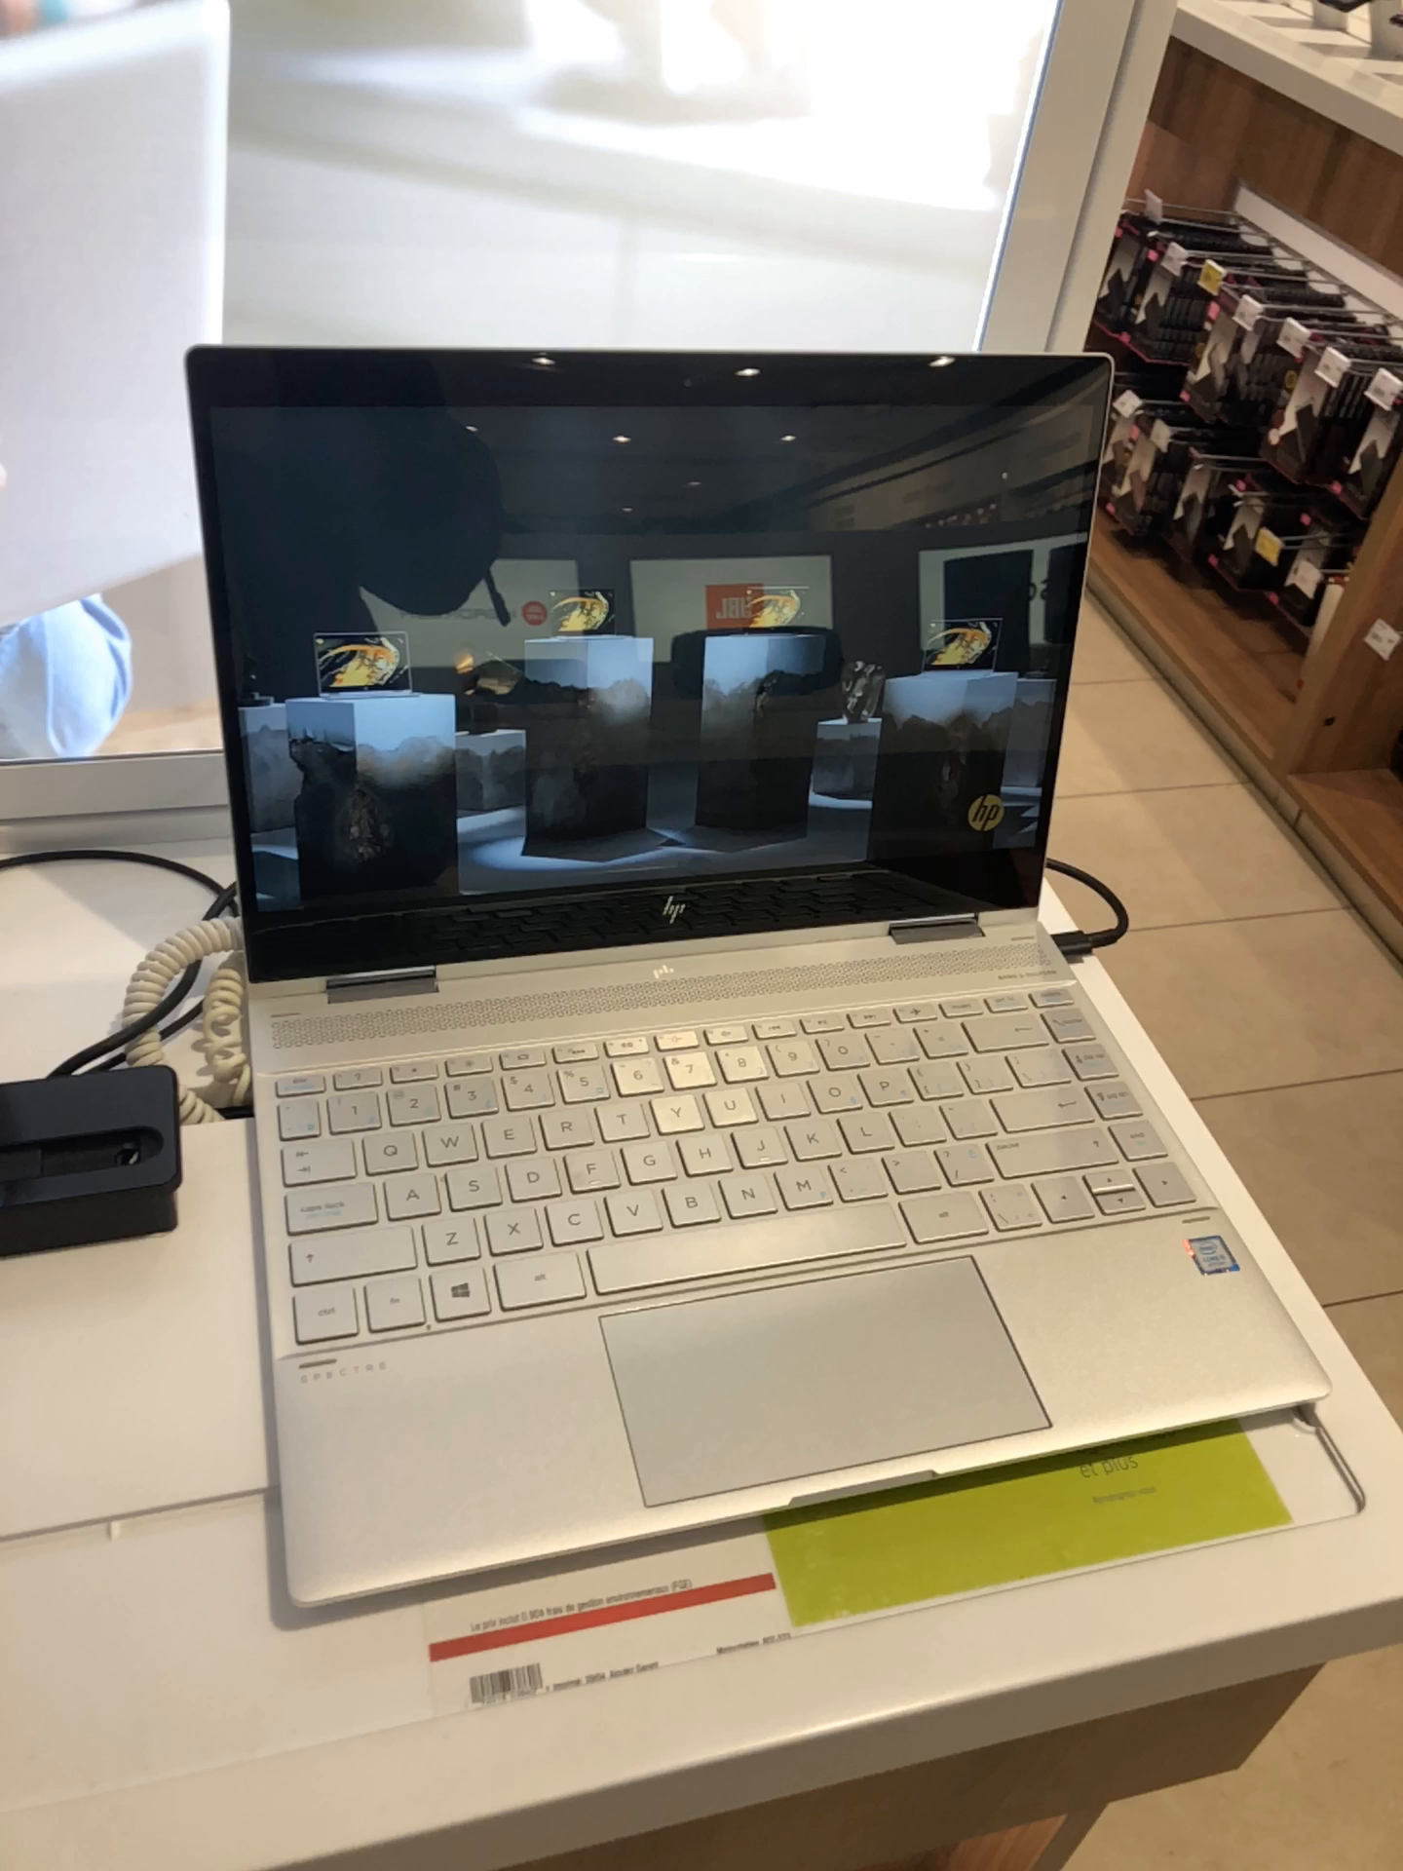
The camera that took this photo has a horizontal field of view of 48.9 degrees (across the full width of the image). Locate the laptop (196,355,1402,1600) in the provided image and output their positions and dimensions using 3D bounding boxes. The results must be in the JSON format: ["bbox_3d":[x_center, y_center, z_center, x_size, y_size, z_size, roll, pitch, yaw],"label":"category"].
[{"bbox_3d":[0.020,-0.018,0.455,0.299,0.193,0.283,-6,43,-15],"label":"laptop"}]
